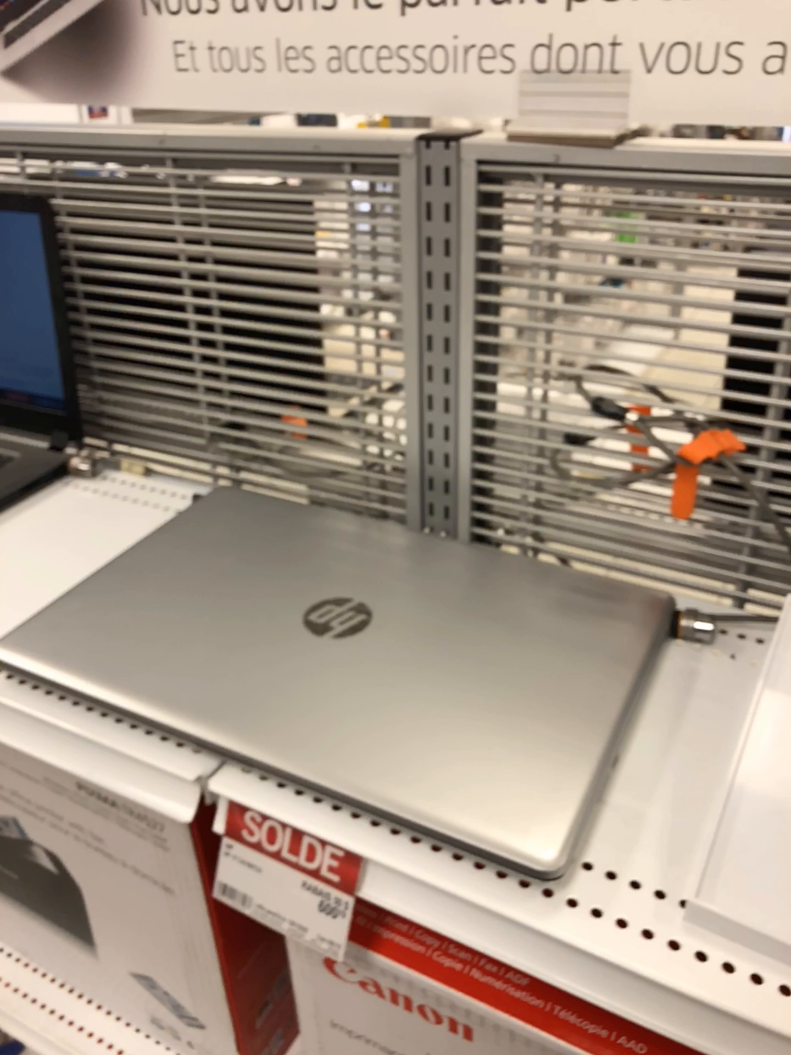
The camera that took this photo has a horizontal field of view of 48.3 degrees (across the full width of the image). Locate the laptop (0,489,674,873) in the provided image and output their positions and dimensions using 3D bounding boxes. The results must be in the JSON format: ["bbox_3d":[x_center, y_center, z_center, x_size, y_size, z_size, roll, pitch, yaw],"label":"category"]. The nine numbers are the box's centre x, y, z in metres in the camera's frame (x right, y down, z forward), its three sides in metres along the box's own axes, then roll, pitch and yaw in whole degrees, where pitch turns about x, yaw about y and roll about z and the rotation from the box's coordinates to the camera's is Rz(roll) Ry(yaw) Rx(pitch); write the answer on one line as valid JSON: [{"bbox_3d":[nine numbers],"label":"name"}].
[{"bbox_3d":[-0.038,0.070,0.647,0.416,0.002,0.277,13,33,25],"label":"laptop"}]
